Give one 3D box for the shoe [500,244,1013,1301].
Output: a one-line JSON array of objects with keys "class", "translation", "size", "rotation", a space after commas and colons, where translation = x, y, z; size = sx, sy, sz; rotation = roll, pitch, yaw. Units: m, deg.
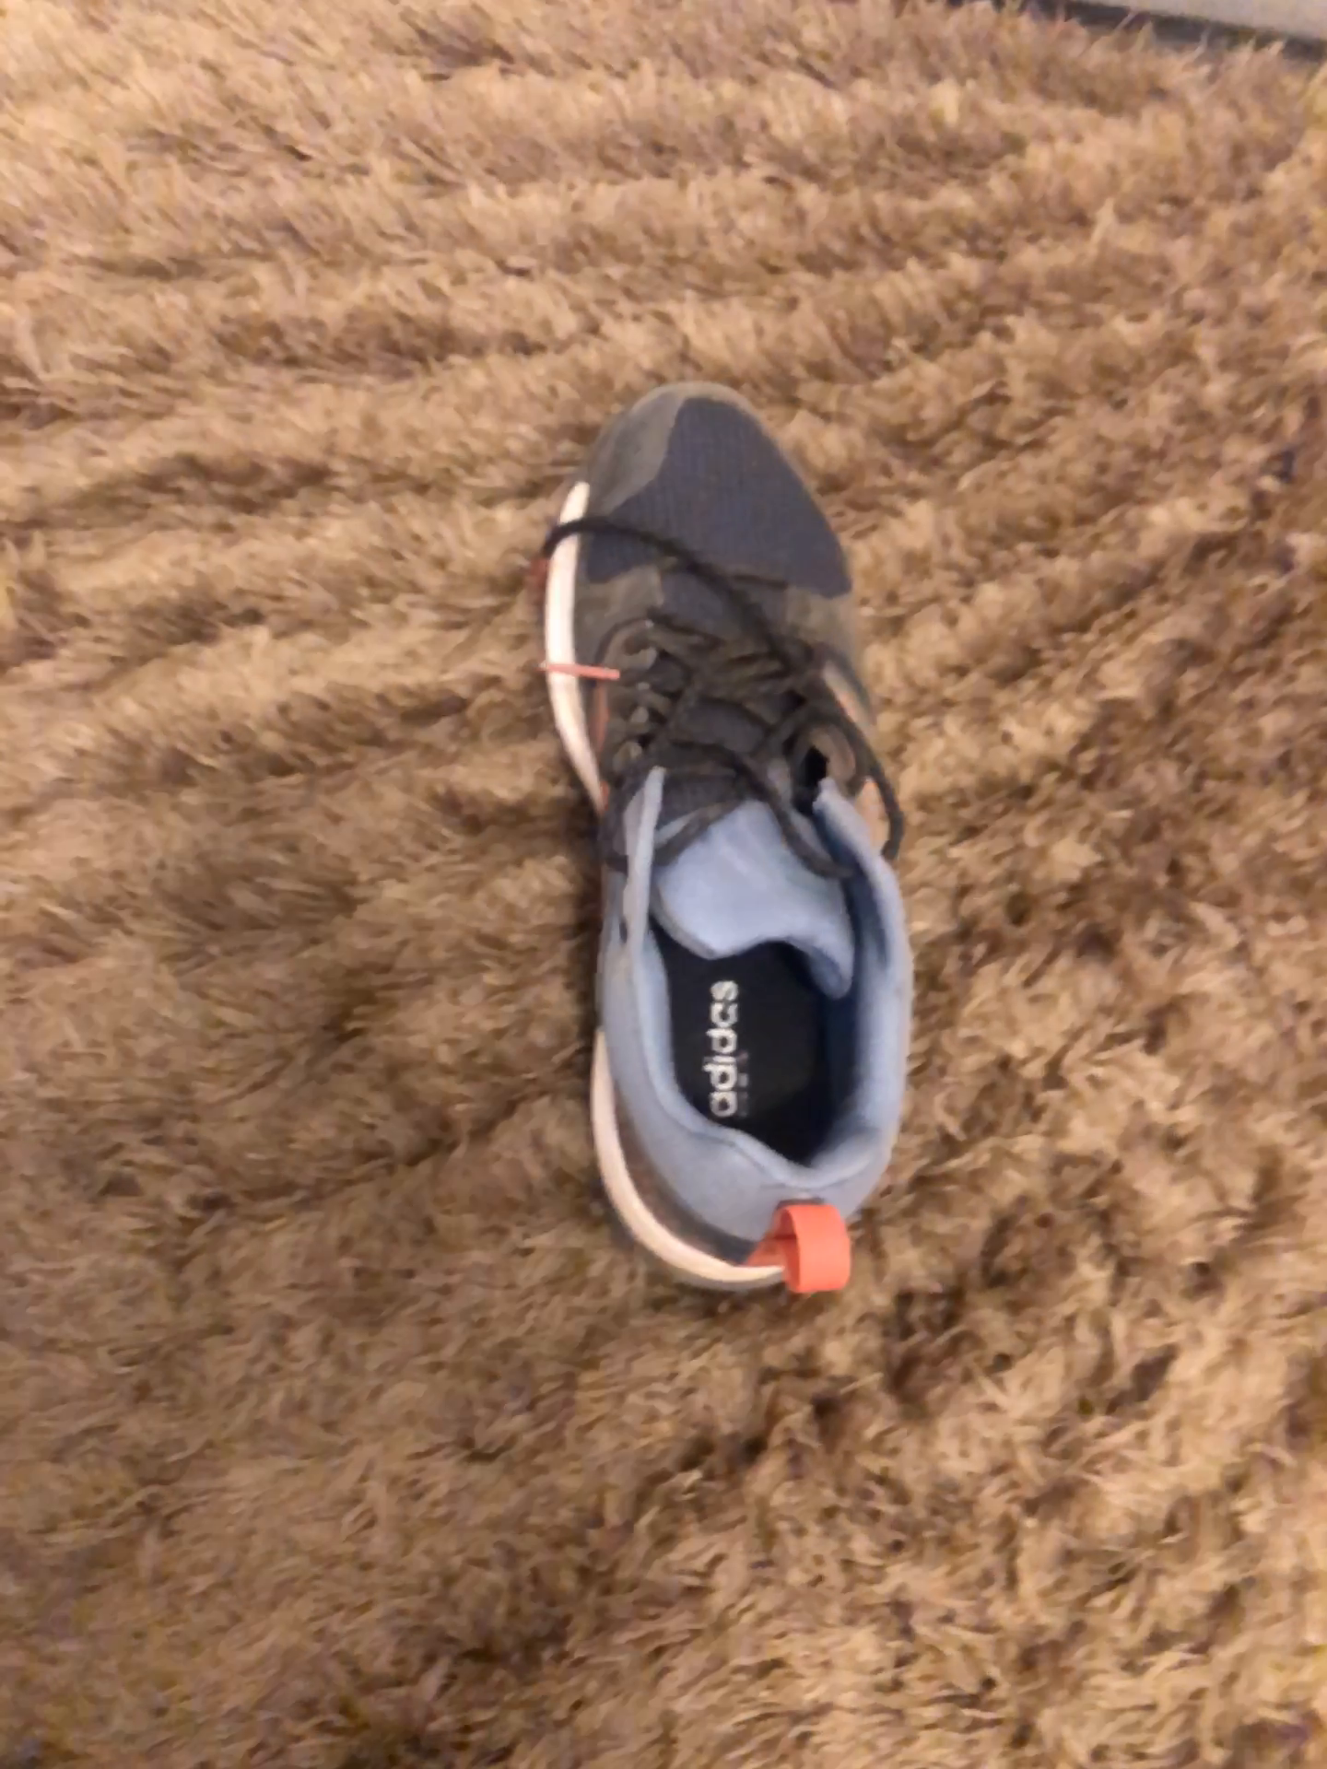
[{"class": "shoe", "translation": [0.015, -0.025, 0.430], "size": [0.113, 0.110, 0.275], "rotation": [2, 76, -12]}]
